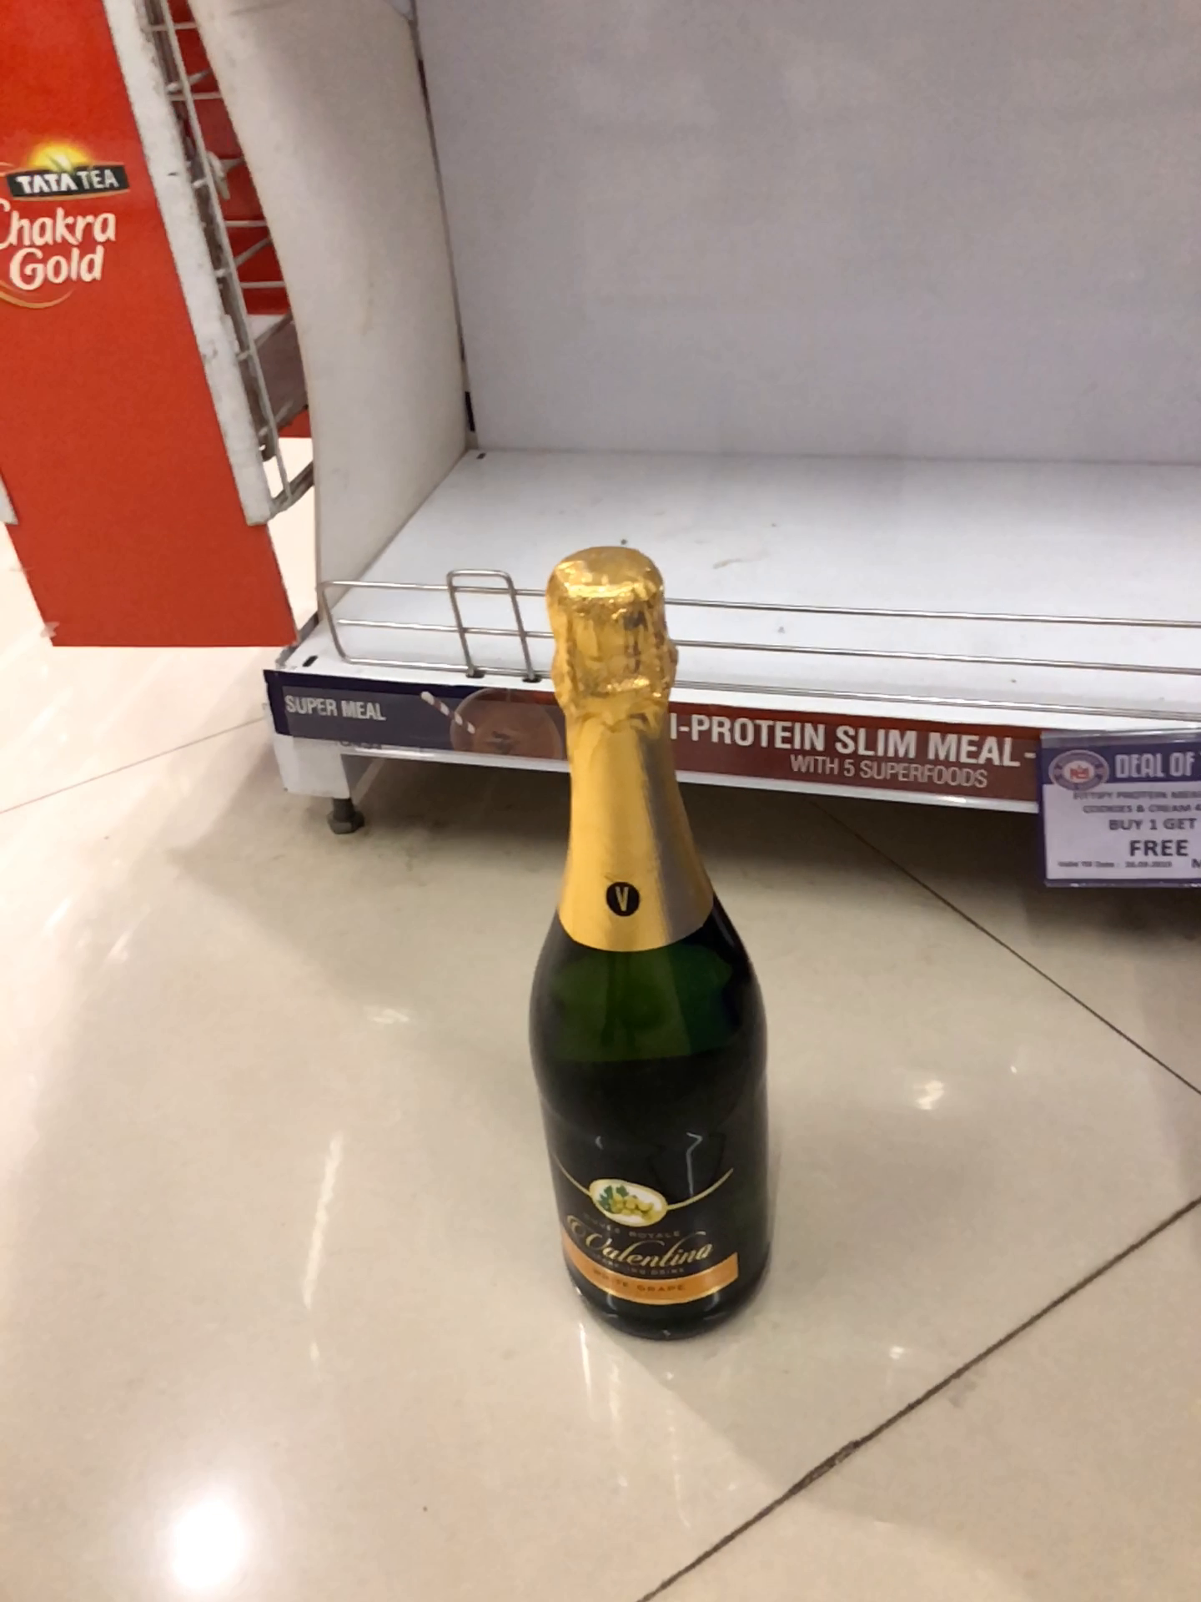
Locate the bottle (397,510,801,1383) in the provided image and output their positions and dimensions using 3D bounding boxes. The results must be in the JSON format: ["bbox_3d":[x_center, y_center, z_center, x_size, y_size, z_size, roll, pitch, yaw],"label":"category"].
[{"bbox_3d":[0.016,0.062,0.440,0.090,0.298,0.091,-4,36,3],"label":"bottle"}]
